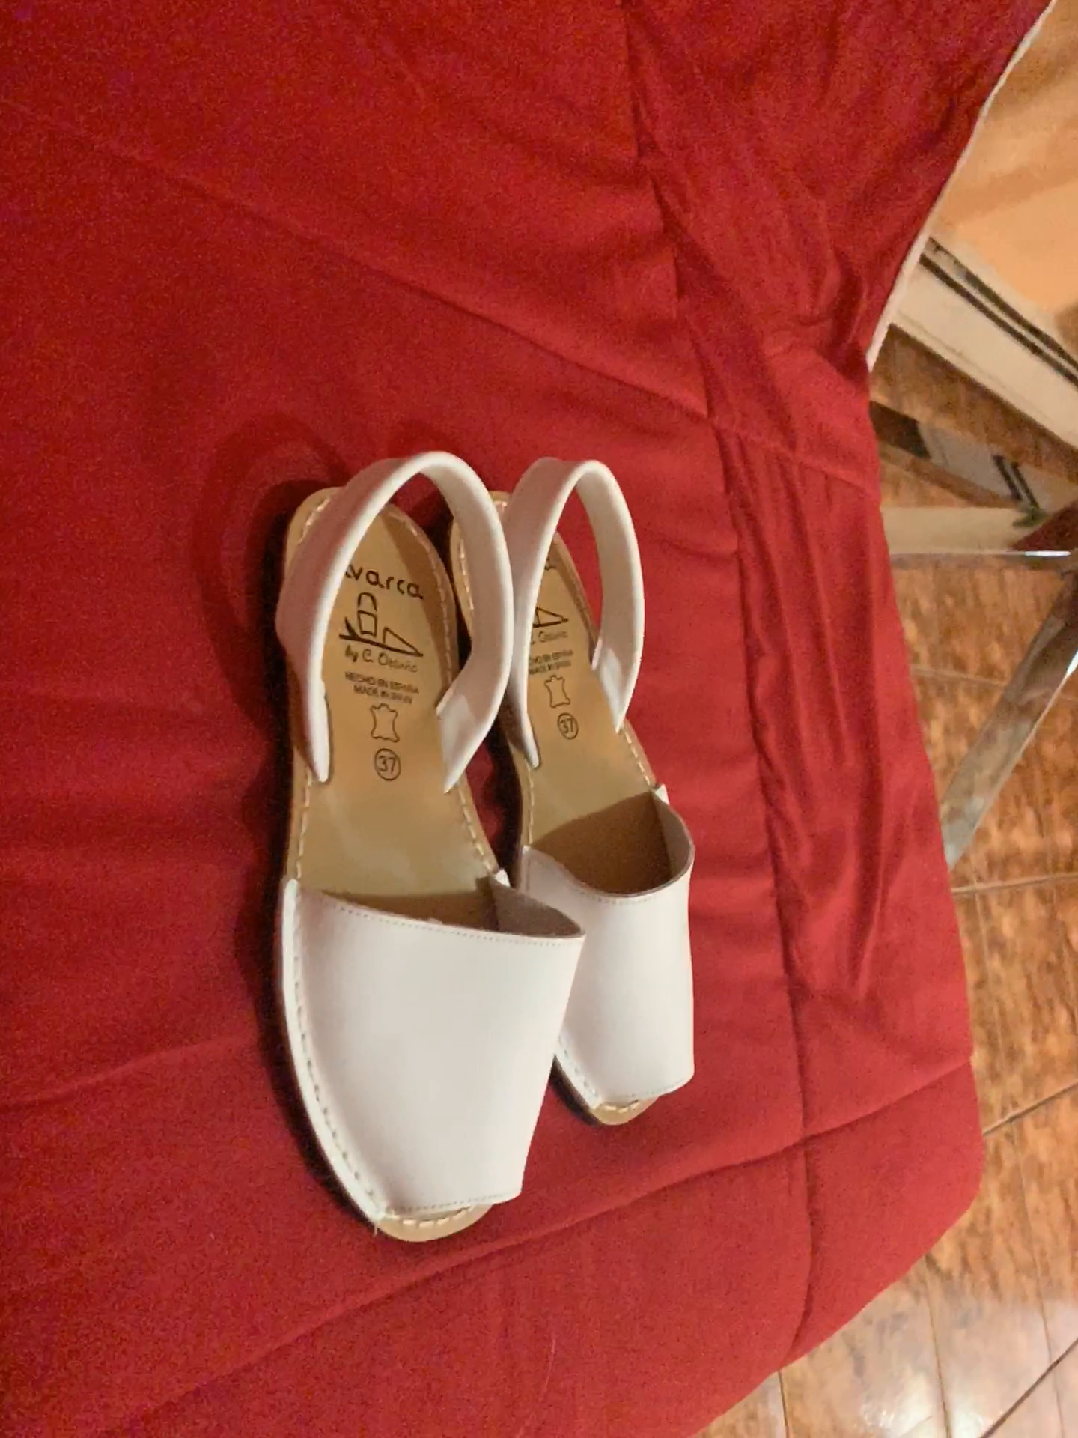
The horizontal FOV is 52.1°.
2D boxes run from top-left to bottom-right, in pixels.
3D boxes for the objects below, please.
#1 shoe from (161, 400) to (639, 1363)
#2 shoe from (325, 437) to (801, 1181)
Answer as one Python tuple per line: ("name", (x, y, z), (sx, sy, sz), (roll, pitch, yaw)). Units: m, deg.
("shoe", (-0.043, 0.041, 0.345), (0.108, 0.063, 0.247), (3, 77, -47))
("shoe", (0.013, 0.026, 0.414), (0.104, 0.063, 0.249), (-17, 92, -49))
